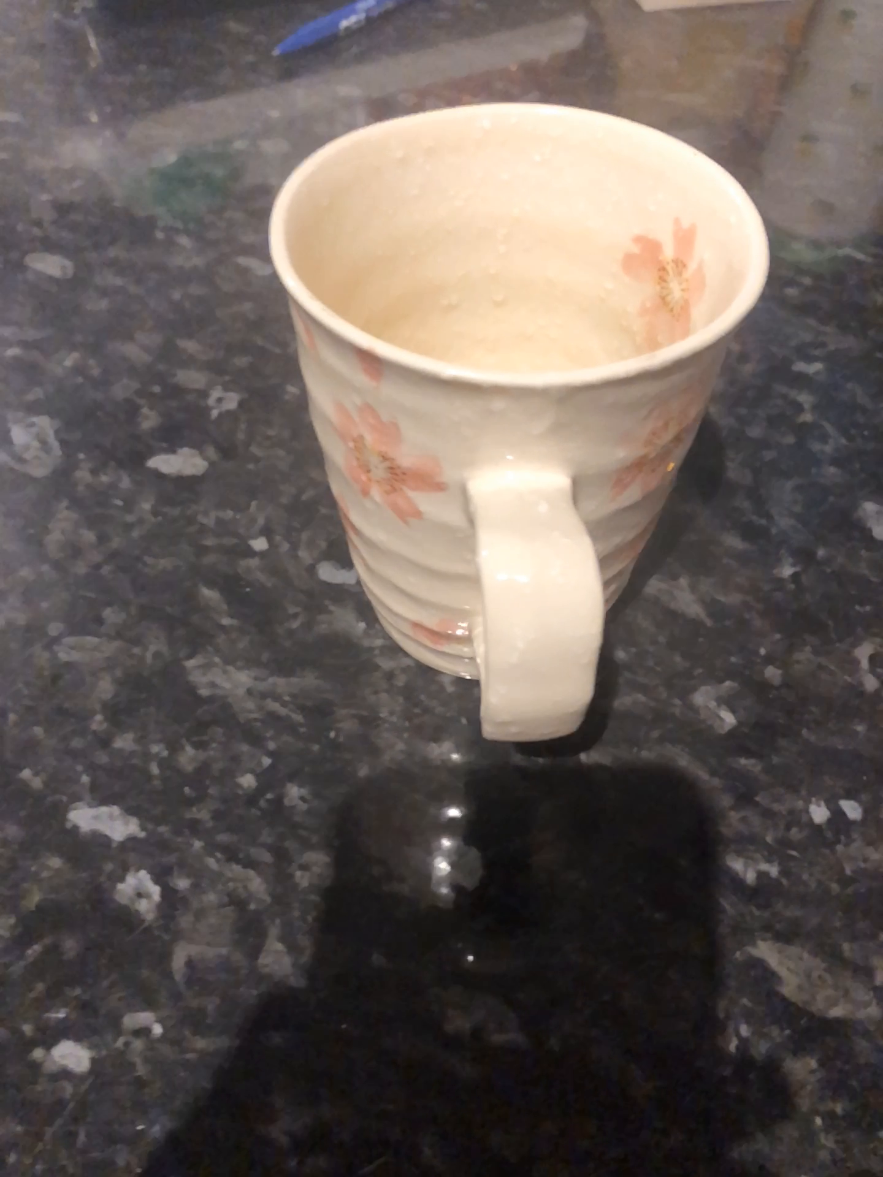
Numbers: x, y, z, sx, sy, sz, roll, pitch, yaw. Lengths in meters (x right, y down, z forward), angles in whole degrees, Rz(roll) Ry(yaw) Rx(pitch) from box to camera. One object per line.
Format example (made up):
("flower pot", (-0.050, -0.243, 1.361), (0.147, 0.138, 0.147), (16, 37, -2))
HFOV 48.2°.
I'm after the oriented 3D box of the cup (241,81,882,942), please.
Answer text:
("cup", (0.017, -0.017, 0.192), (0.090, 0.099, 0.131), (-3, 51, -3))
